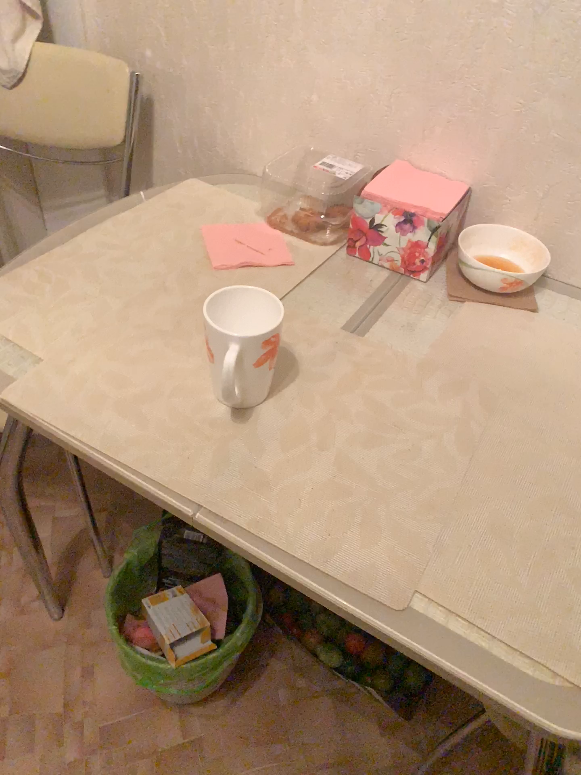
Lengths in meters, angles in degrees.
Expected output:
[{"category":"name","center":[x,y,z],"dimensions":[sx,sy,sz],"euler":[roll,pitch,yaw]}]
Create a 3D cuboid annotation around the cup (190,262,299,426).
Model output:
[{"category":"cup","center":[-0.042,-0.044,0.585],"dimensions":[0.083,0.099,0.120],"euler":[6,43,1]}]
